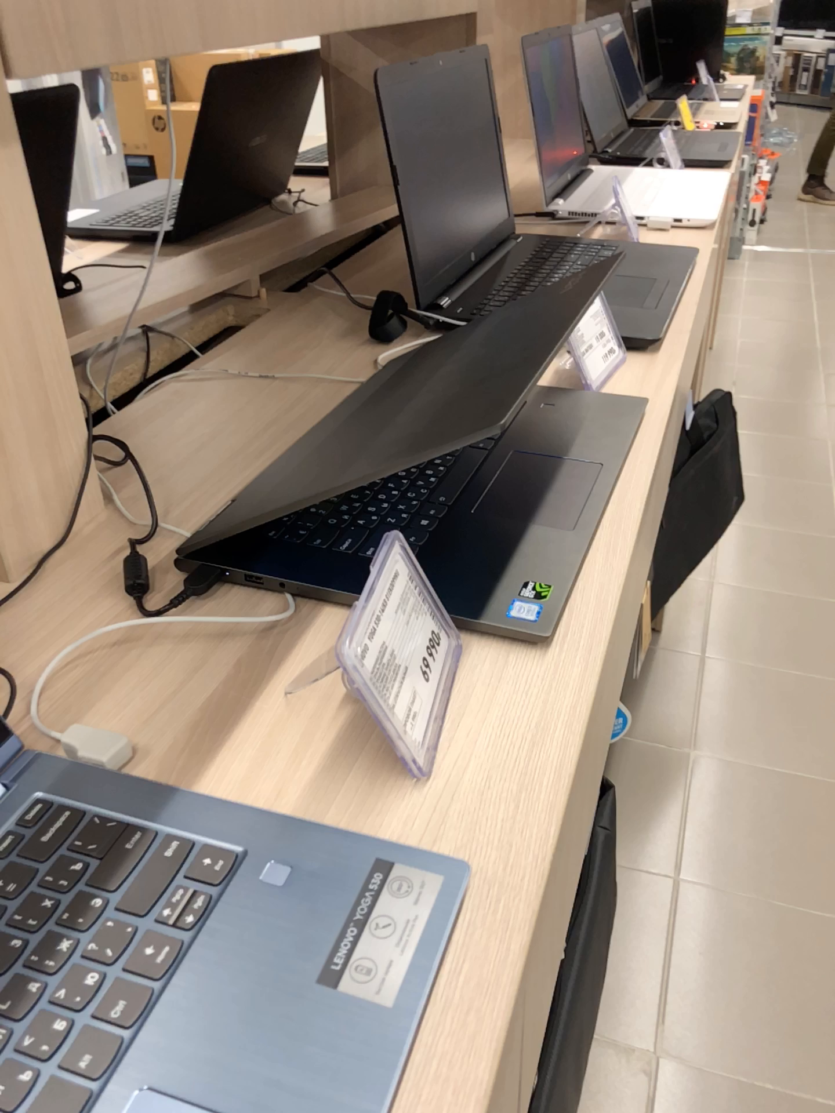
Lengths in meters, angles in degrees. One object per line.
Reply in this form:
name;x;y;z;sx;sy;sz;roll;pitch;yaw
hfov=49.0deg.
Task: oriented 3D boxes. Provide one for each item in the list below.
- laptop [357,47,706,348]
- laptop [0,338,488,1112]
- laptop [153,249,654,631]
laptop;0.155;-0.449;1.090;0.304;0.240;0.404;10;33;15
laptop;-0.203;0.102;0.243;0.342;0.201;0.356;8;32;16
laptop;0.022;-0.118;0.681;0.242;0.118;0.364;11;33;17
